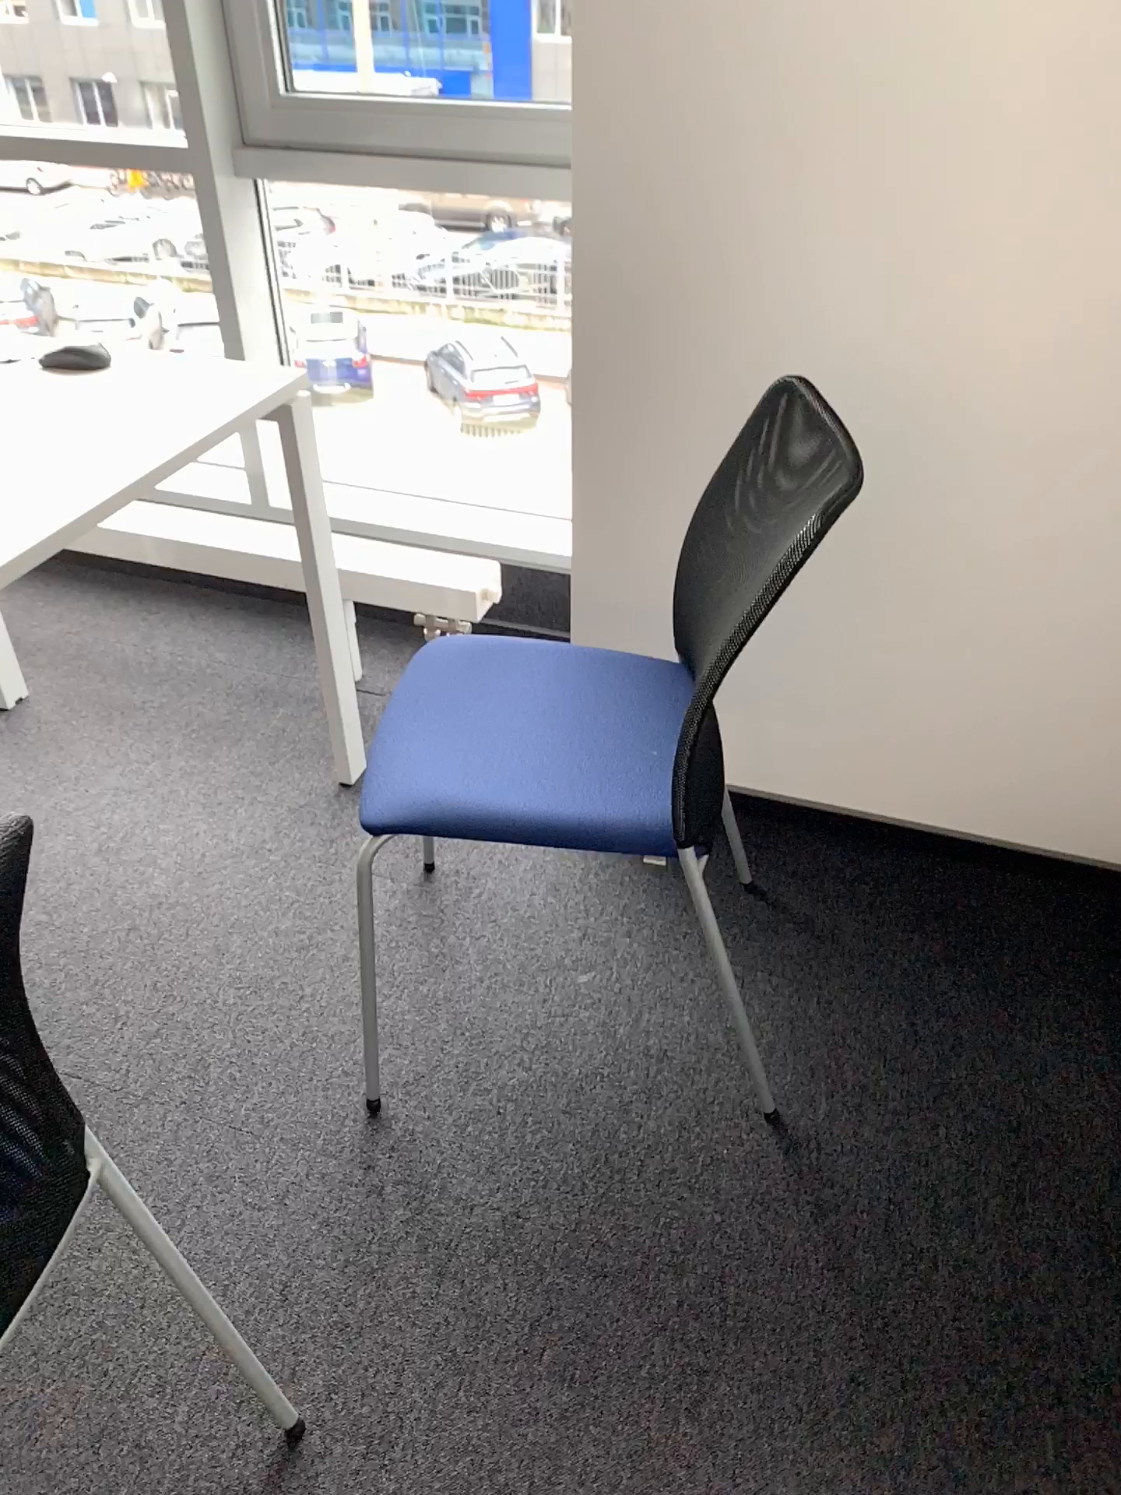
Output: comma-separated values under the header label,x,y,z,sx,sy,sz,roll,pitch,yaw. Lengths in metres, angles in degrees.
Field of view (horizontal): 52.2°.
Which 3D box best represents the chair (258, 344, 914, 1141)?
label,x,y,z,sx,sy,sz,roll,pitch,yaw
chair,0.029,0.009,1.509,0.590,0.895,0.533,1,37,2
